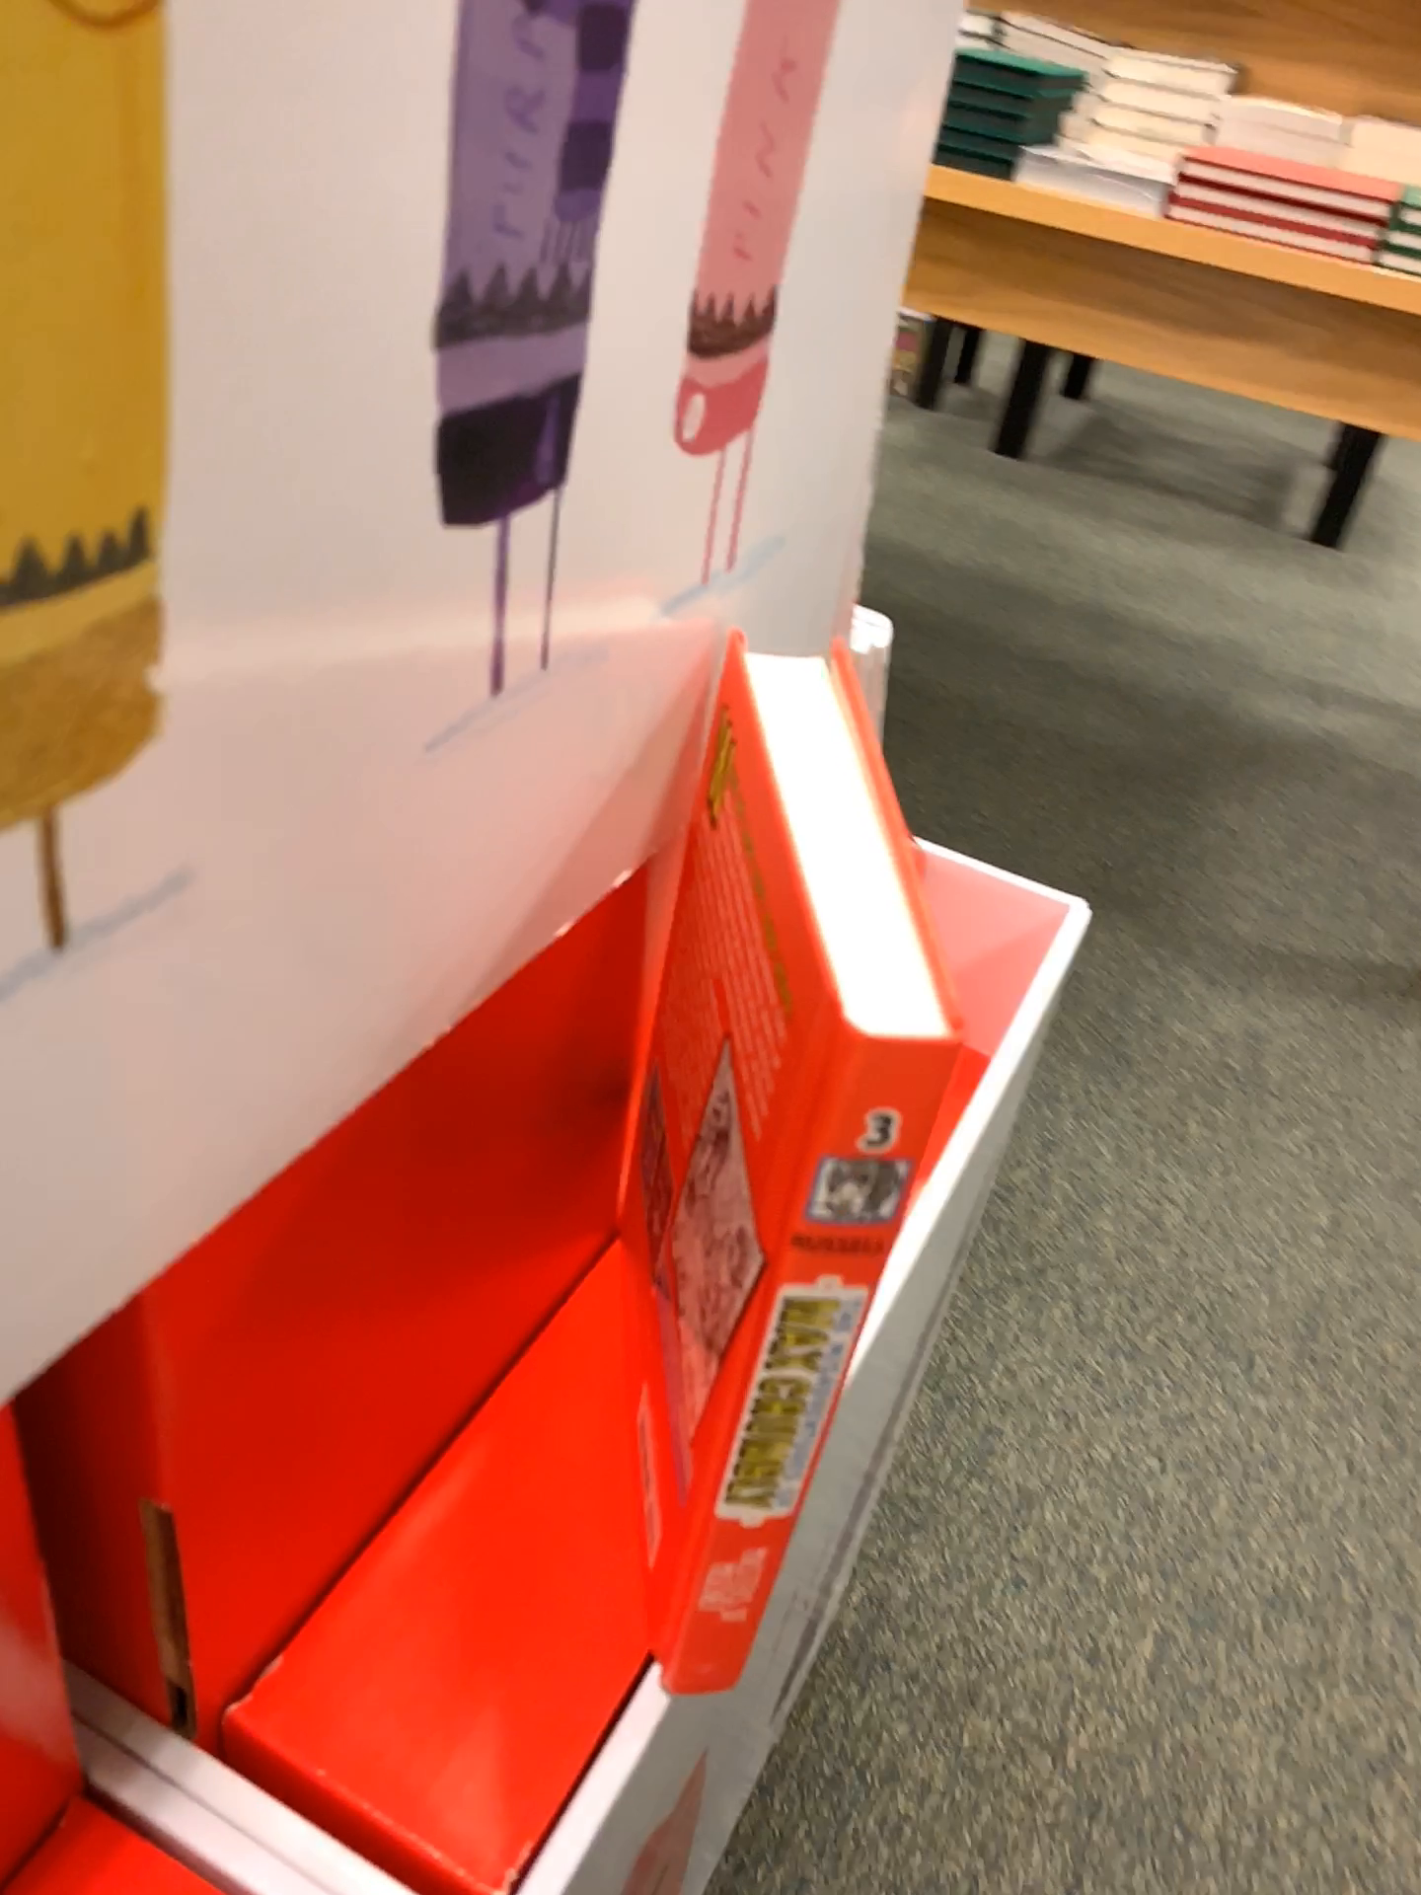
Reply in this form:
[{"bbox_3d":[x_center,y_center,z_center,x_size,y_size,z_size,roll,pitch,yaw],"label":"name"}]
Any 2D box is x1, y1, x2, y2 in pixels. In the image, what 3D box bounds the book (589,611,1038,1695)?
[{"bbox_3d":[0.007,0.048,0.333,0.030,0.201,0.143,4,36,-13],"label":"book"}]
